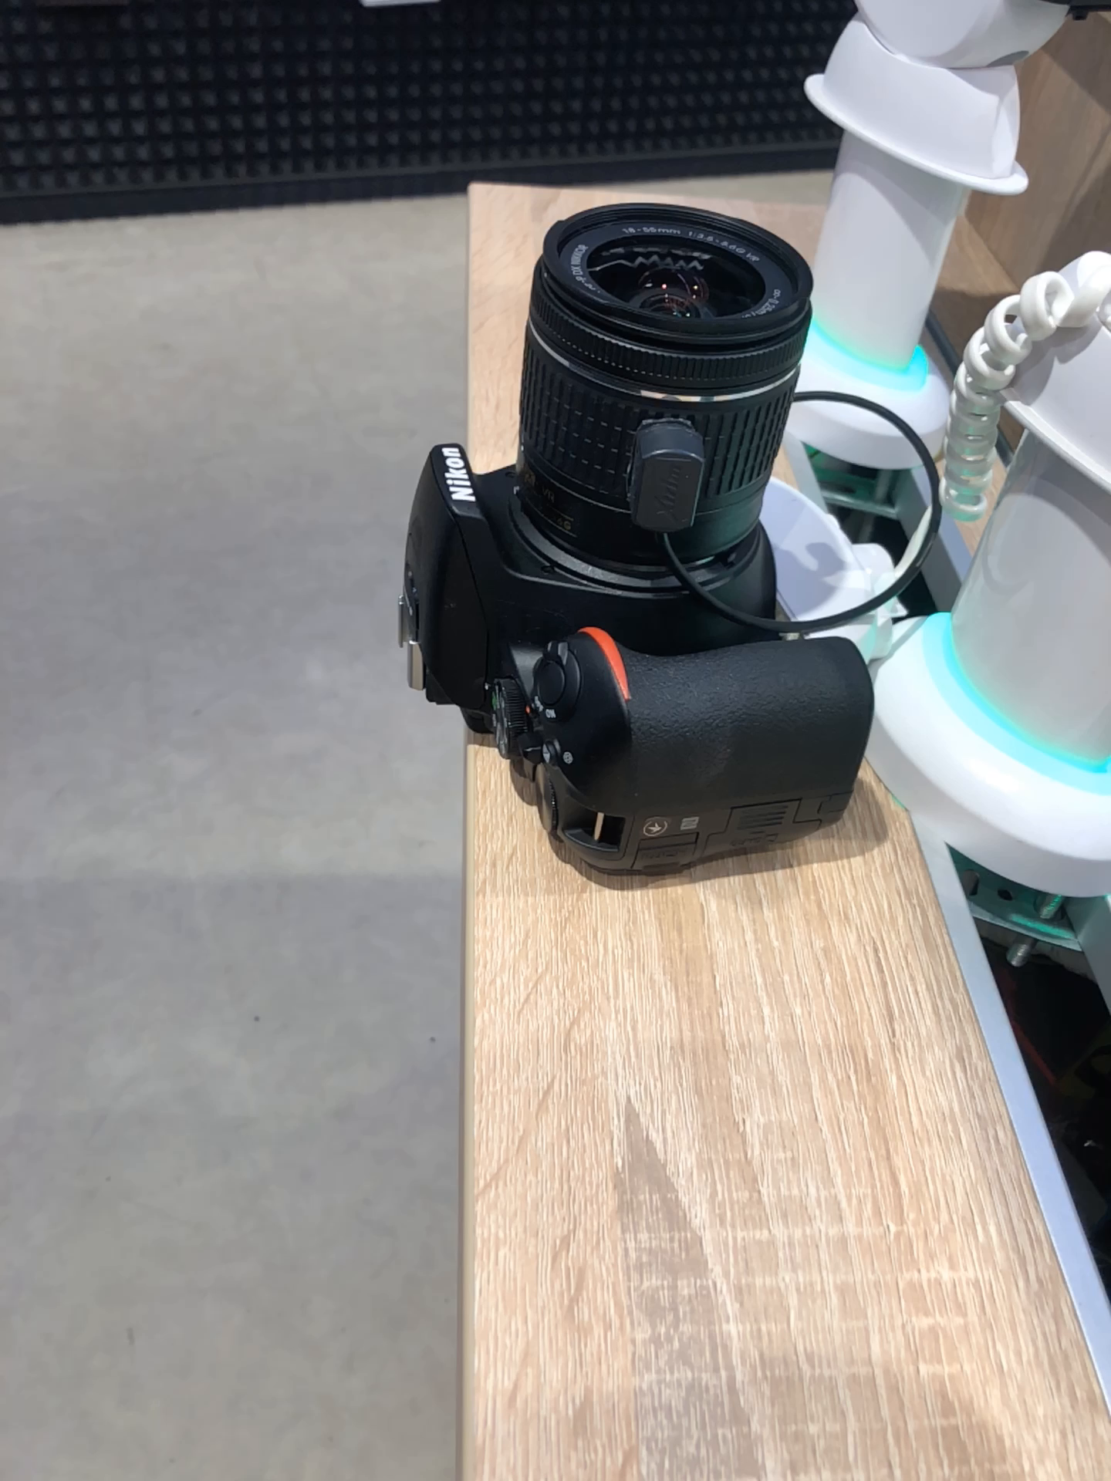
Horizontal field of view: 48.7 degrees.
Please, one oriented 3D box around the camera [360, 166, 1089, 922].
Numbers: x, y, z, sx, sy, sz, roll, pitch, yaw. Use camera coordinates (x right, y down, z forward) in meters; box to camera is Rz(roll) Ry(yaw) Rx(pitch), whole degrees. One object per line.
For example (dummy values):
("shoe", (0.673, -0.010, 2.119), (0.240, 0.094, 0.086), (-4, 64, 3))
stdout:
("camera", (0.023, -0.054, 0.302), (0.115, 0.117, 0.133), (-9, 46, -14))
